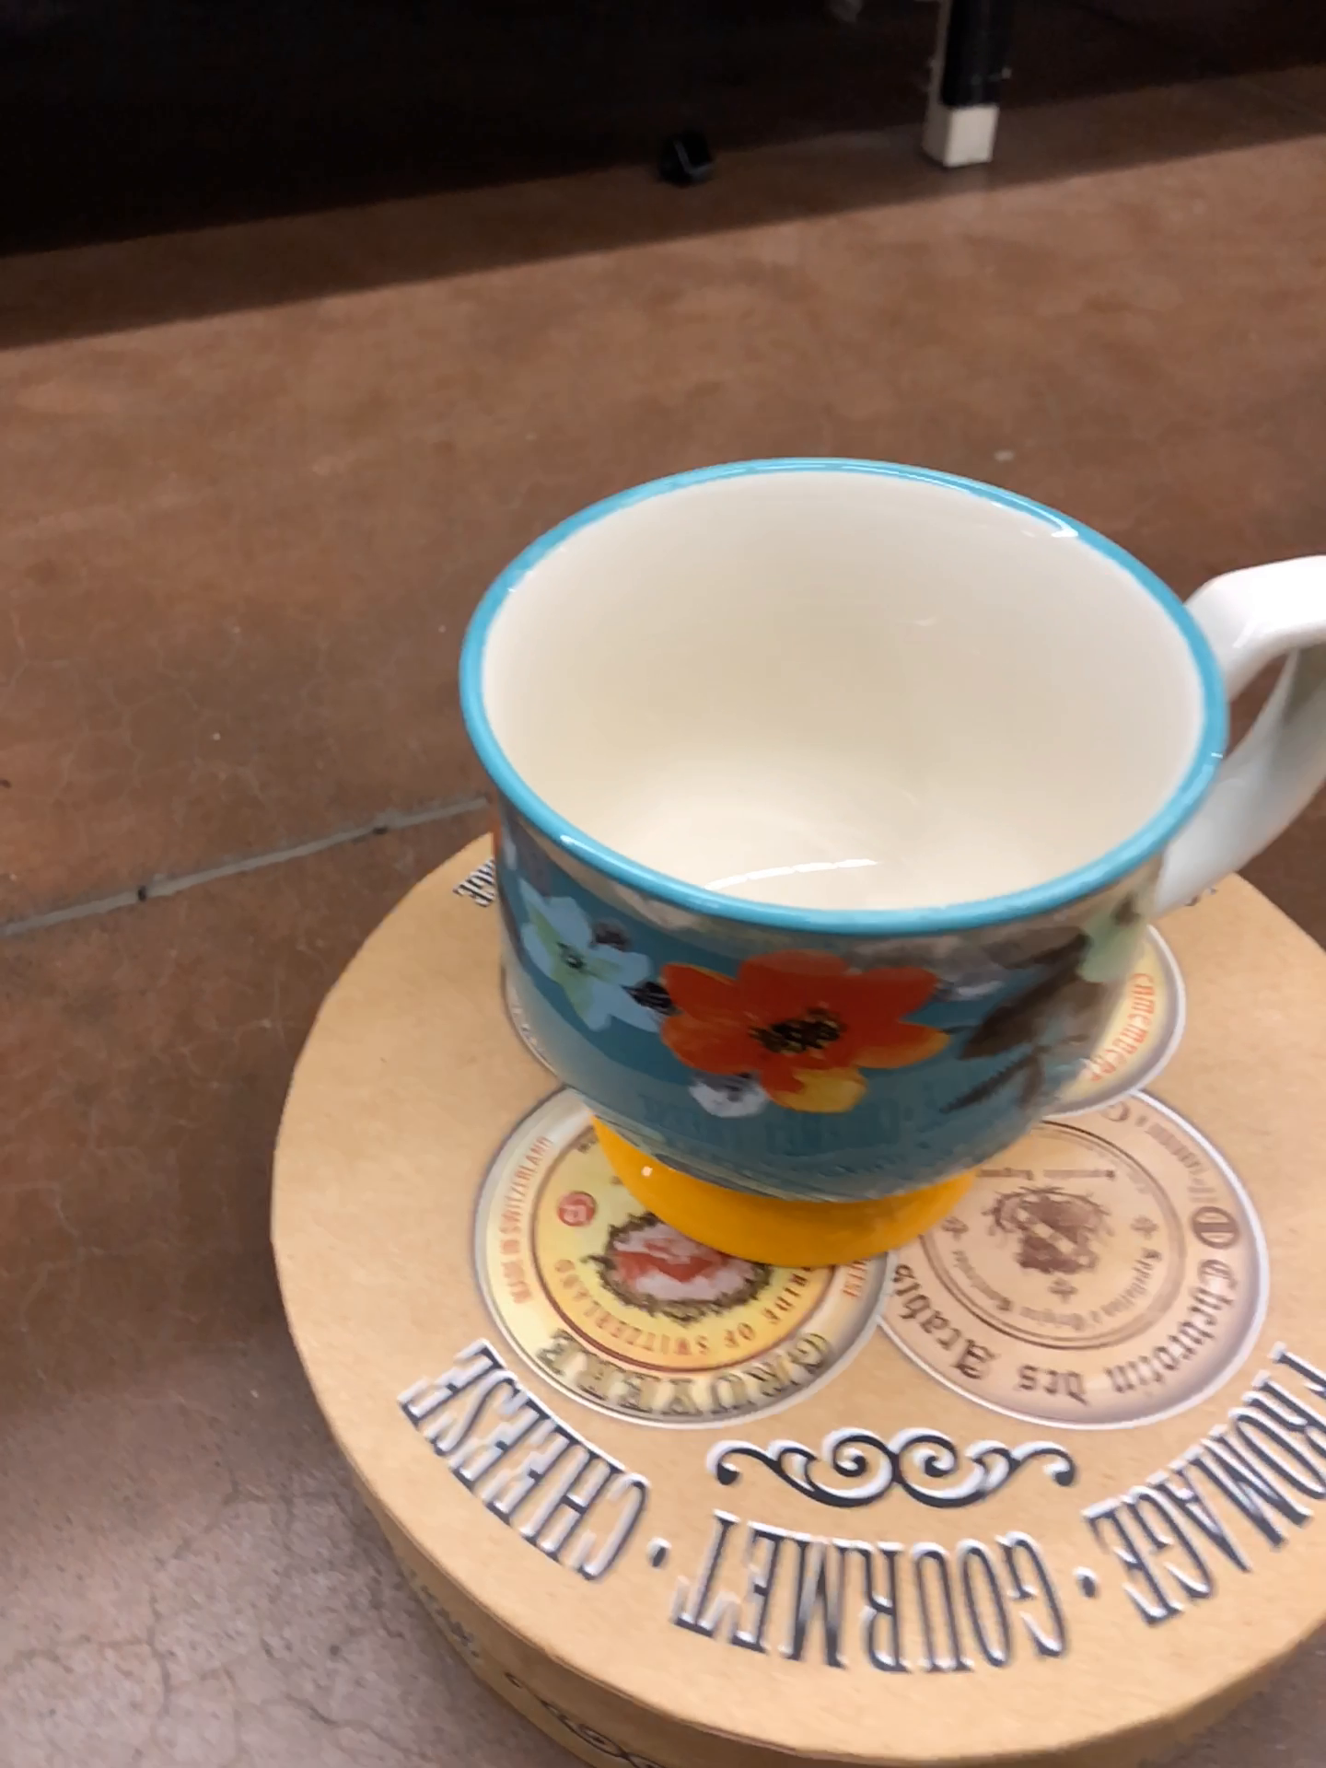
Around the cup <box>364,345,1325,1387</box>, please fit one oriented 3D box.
[{"bbox_3d":[0.041,-0.009,0.213,0.140,0.080,0.090,-14,46,-14],"label":"cup"}]
